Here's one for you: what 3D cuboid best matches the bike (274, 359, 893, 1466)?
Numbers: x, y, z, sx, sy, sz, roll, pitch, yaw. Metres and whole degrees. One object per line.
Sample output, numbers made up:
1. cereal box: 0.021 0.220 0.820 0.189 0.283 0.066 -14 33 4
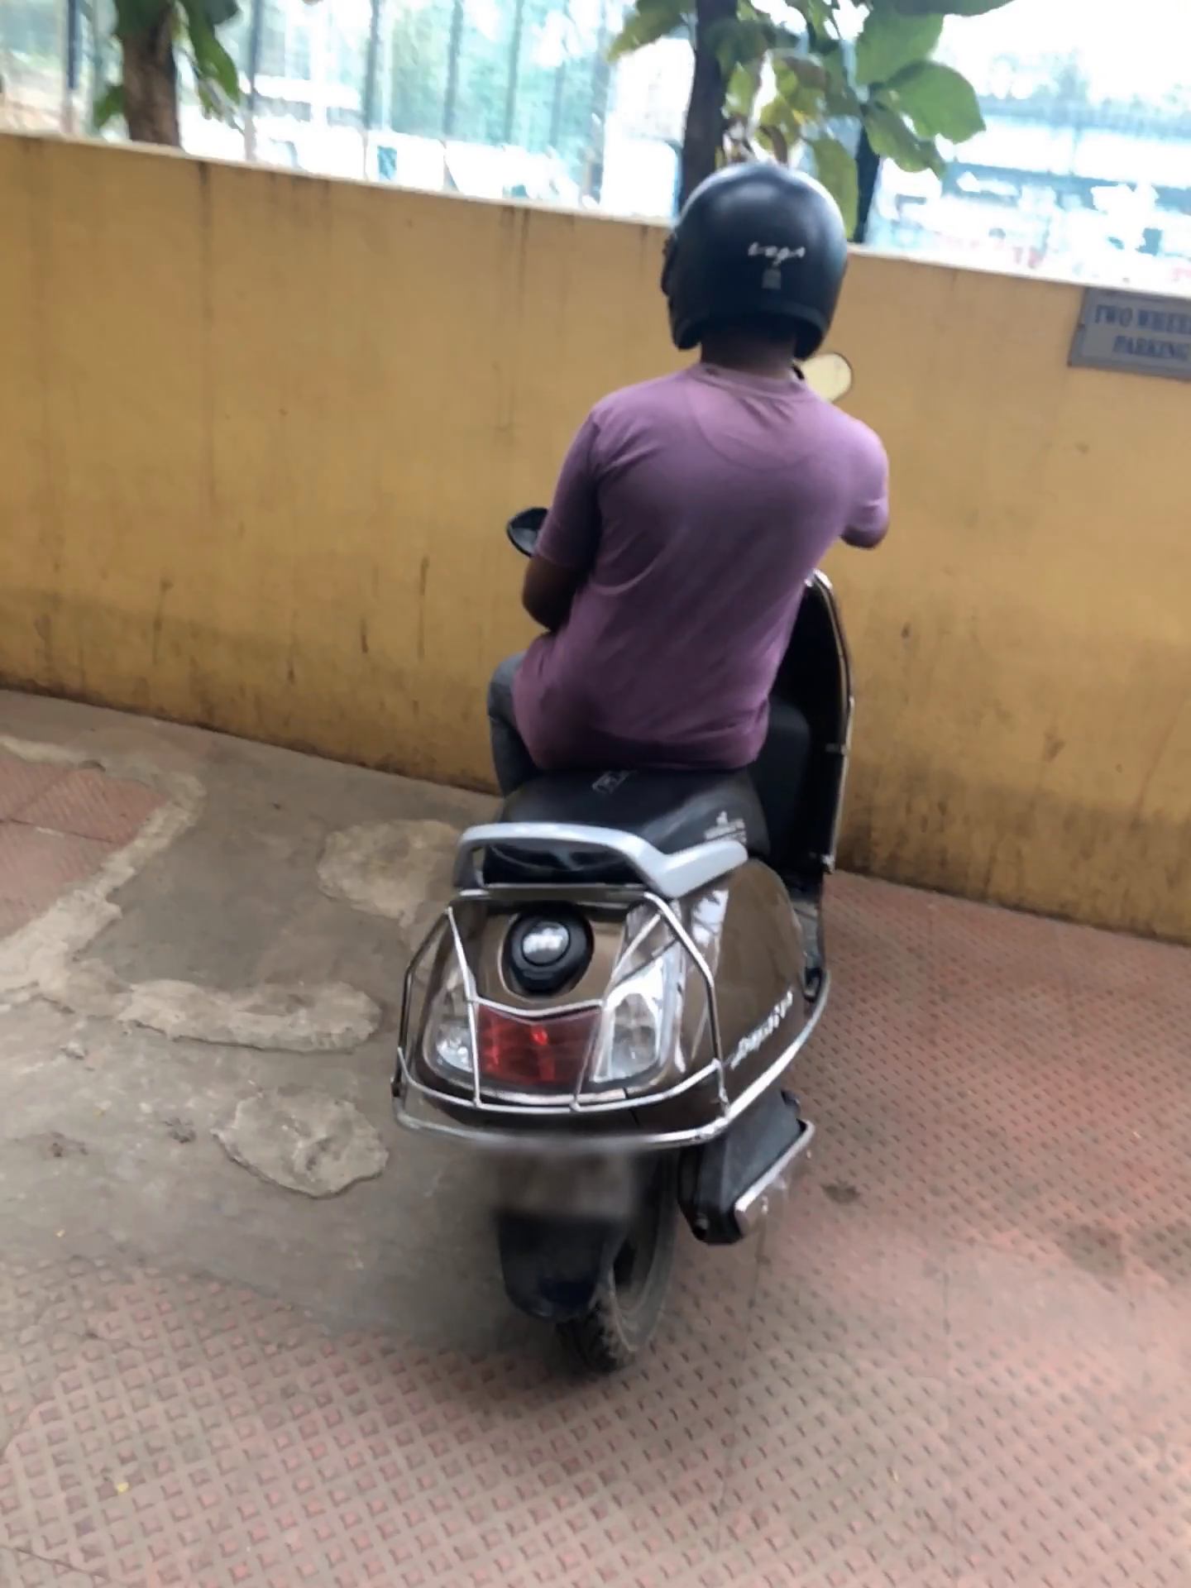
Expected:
1. bike: 0.016 -0.030 2.365 0.643 1.182 1.723 10 26 4
